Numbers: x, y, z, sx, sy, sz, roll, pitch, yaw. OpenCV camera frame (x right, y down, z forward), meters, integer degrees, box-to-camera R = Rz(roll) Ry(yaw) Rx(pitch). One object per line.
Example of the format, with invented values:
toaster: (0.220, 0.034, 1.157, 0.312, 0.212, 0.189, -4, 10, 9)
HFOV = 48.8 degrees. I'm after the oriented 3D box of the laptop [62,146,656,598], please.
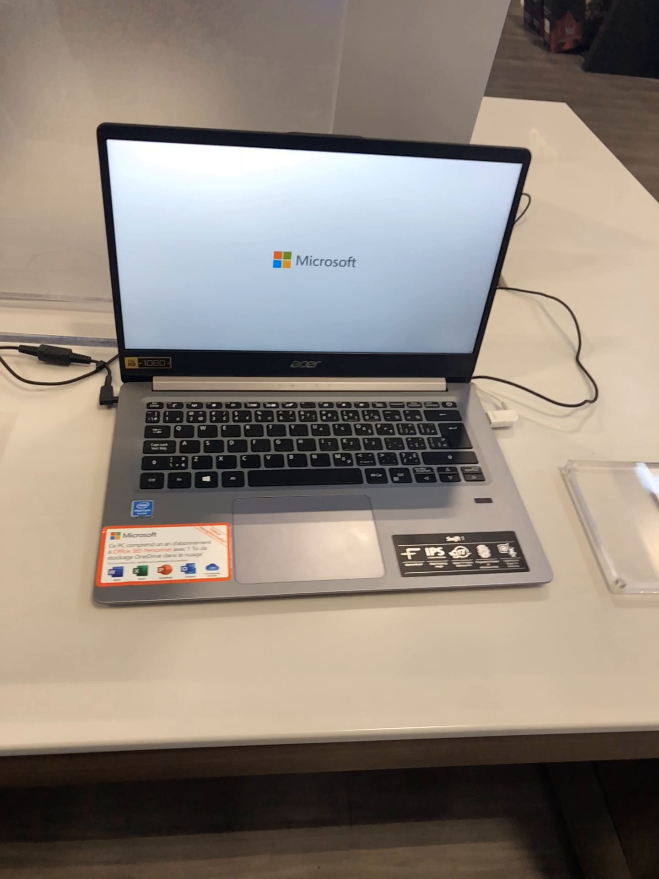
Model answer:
laptop: (0.003, -0.051, 0.514, 0.306, 0.205, 0.225, -1, 43, -10)
